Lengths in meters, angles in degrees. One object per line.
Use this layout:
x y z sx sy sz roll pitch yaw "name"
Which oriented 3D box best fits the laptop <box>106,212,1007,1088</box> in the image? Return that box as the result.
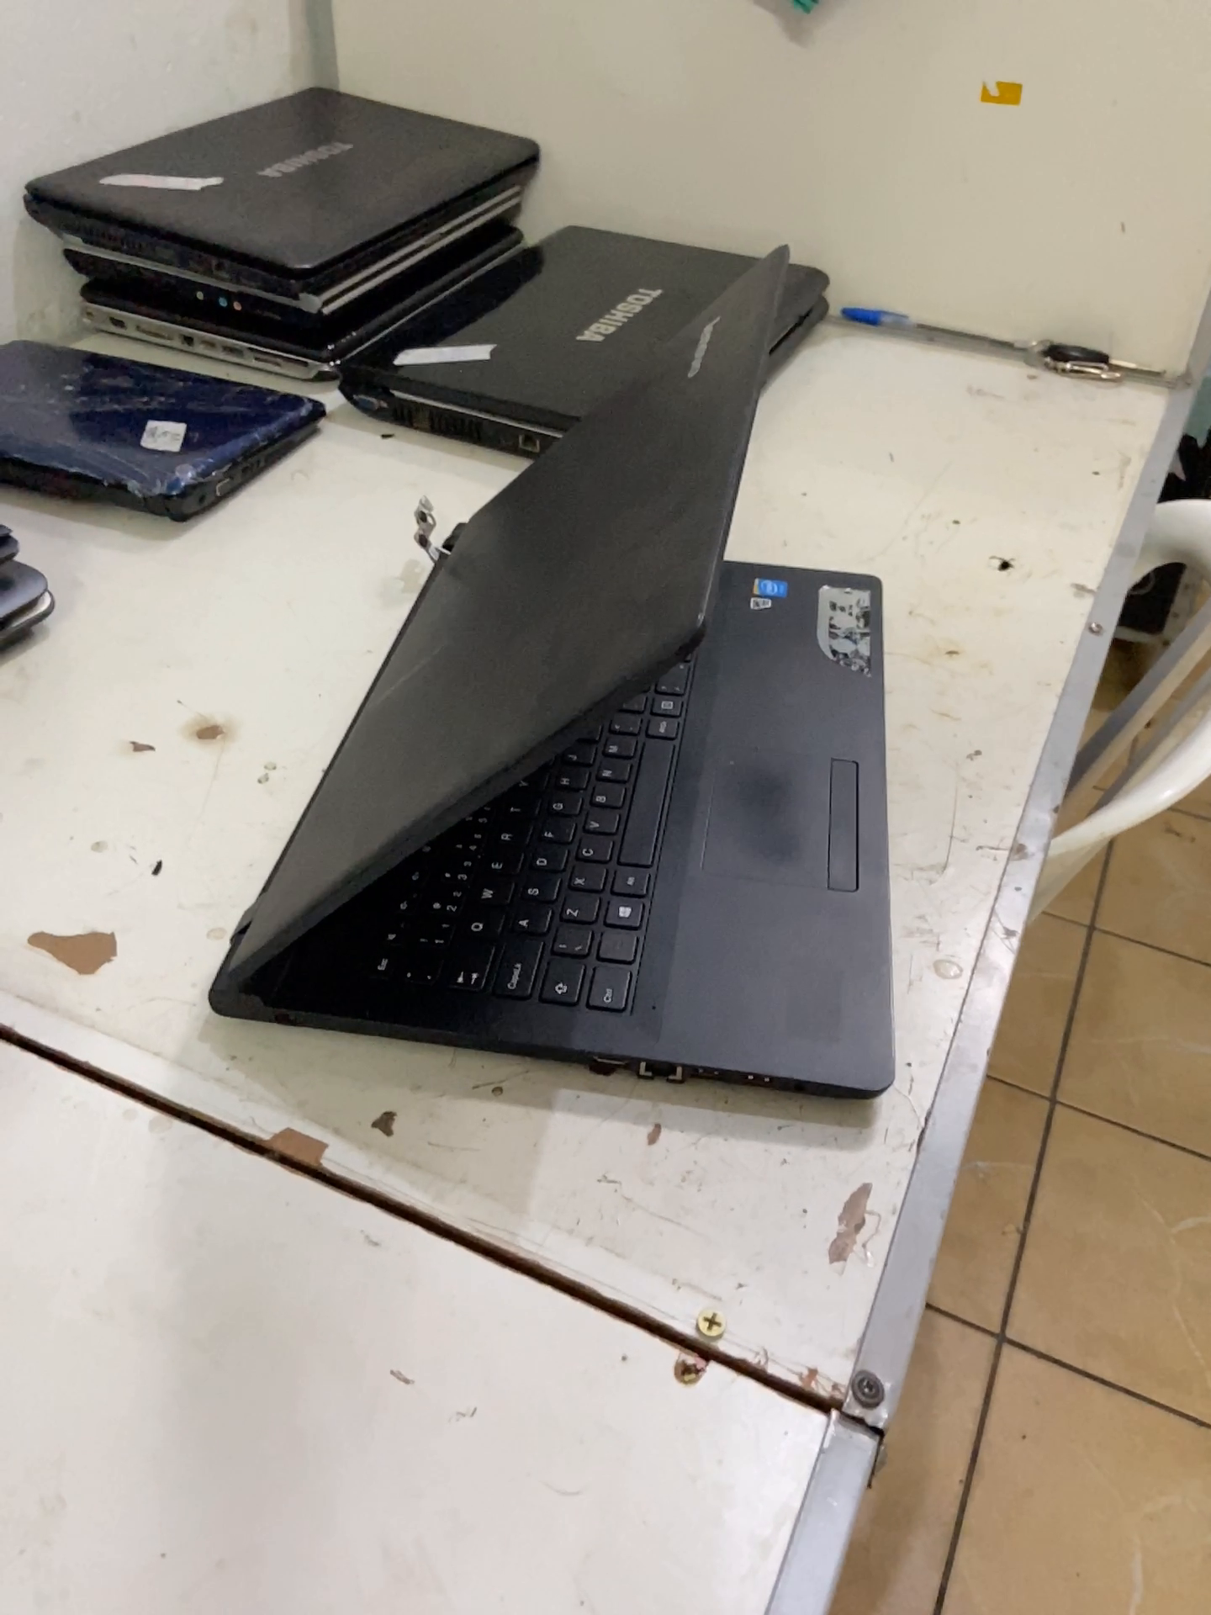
0.006 -0.104 0.553 0.257 0.189 0.378 7 40 6 "laptop"
